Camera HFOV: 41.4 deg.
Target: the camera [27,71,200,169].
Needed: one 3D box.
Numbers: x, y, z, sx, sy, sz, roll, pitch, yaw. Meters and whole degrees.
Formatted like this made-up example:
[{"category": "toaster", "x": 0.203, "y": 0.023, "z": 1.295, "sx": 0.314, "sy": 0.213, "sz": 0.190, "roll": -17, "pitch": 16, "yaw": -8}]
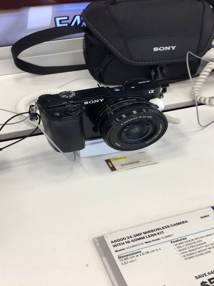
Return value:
[{"category": "camera", "x": 0.005, "y": -0.027, "z": 0.298, "sx": 0.147, "sy": 0.056, "sz": 0.067, "roll": -14, "pitch": 44, "yaw": -12}]
